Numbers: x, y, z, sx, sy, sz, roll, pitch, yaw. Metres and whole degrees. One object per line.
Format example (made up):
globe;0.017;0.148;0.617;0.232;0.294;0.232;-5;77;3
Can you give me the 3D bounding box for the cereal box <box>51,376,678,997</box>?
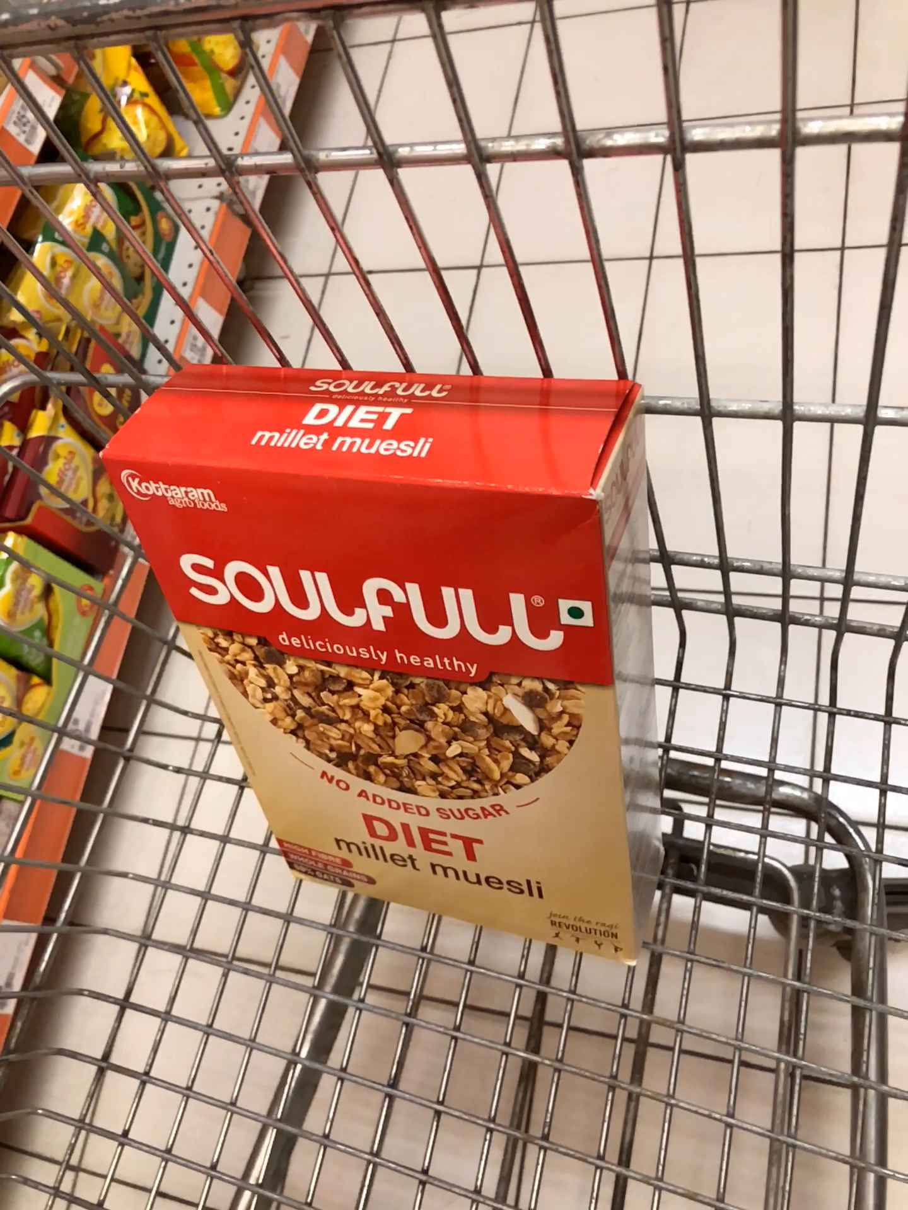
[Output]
cereal box;-0.010;0.042;0.367;0.170;0.249;0.050;8;48;21
